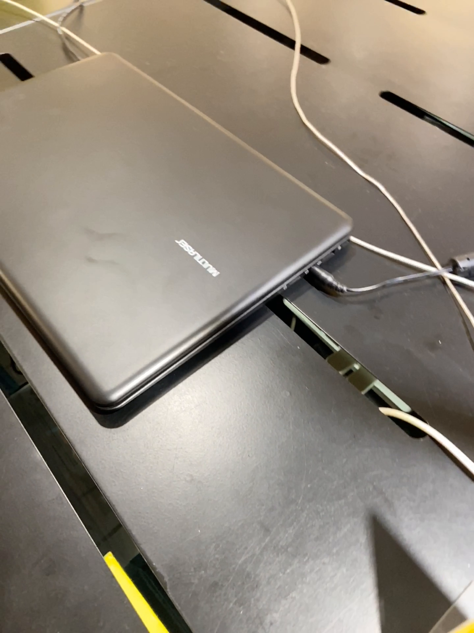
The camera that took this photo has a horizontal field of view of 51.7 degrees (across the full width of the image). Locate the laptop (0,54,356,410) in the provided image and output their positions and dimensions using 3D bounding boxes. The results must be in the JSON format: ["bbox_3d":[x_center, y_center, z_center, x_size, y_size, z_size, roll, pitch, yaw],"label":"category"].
[{"bbox_3d":[-0.101,-0.105,0.380,0.211,0.001,0.324,-36,62,-22],"label":"laptop"}]
